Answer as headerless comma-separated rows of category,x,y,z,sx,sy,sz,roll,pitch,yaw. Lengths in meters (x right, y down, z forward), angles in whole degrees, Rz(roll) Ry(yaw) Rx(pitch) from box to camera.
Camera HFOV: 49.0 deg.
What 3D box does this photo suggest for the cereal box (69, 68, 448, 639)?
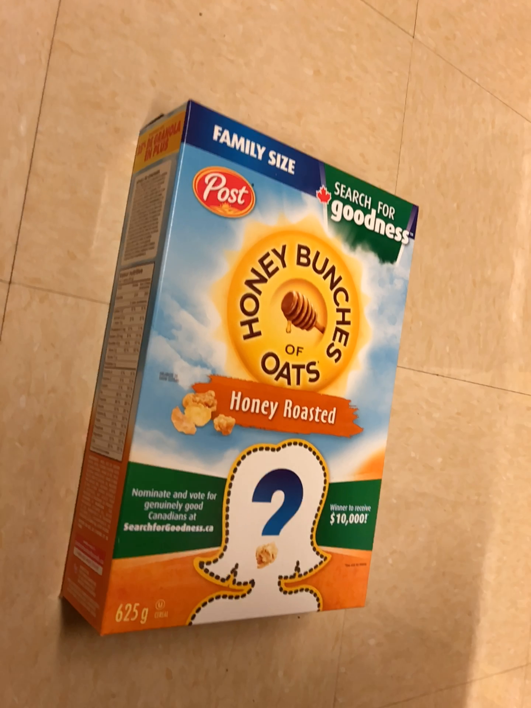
cereal box,0.014,0.011,0.379,0.211,0.070,0.290,14,79,-36
